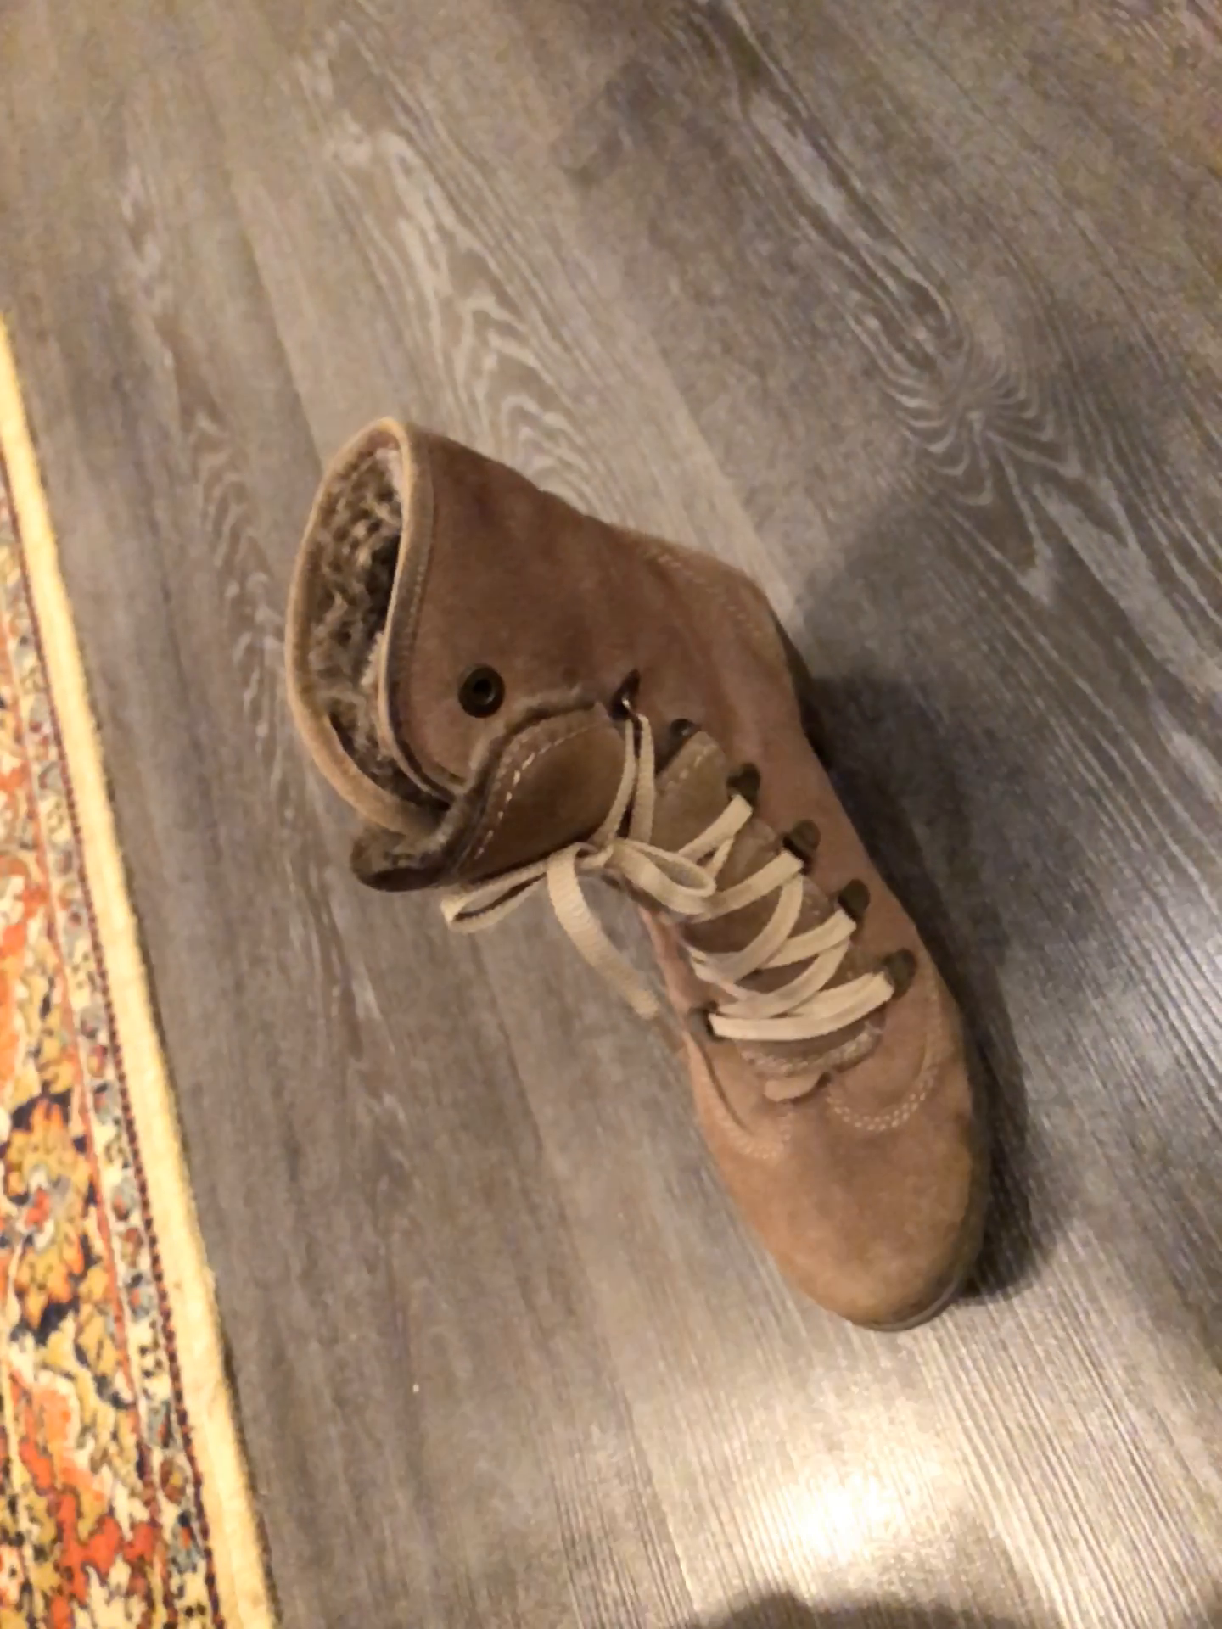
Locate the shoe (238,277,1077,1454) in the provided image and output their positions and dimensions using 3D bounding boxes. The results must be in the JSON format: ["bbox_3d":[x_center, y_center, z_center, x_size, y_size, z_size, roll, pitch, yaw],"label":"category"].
[{"bbox_3d":[0.012,0.024,0.364,0.100,0.189,0.241,-23,63,34],"label":"shoe"}]
